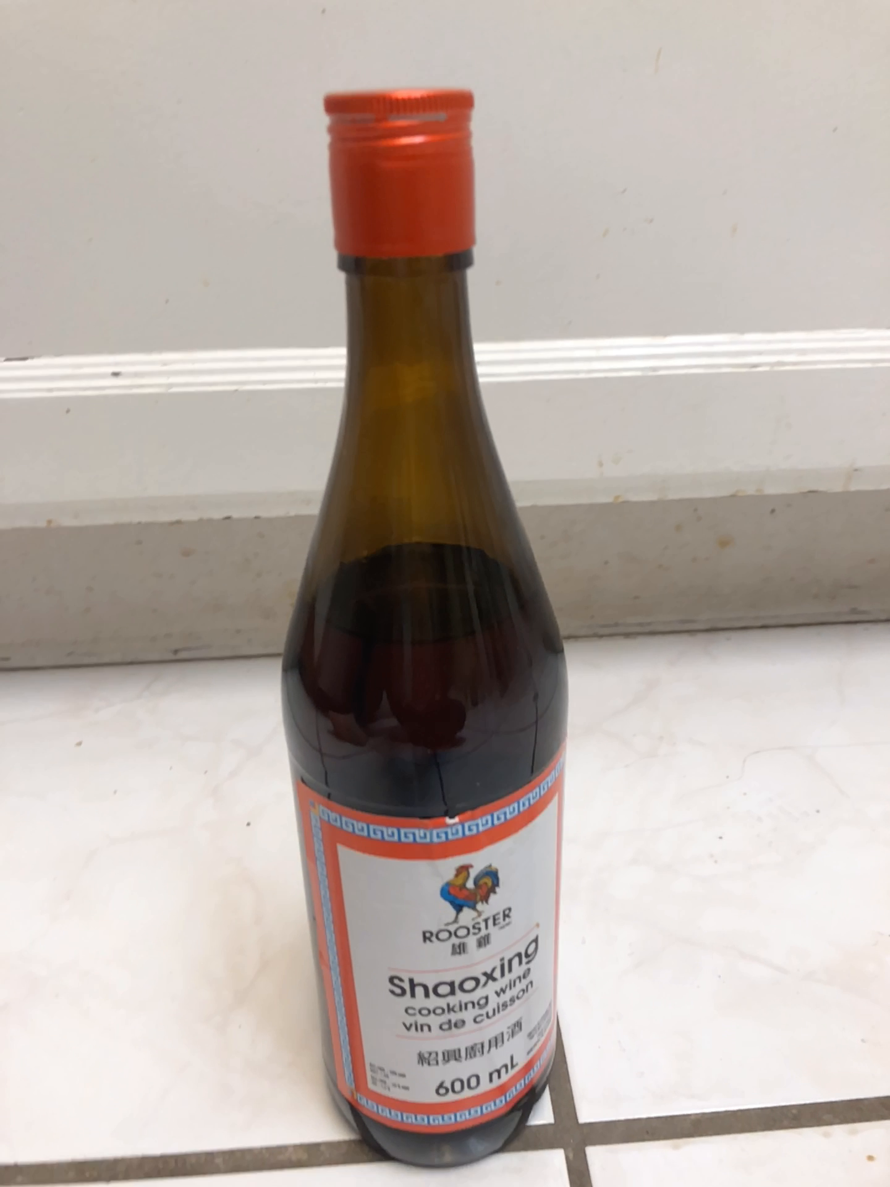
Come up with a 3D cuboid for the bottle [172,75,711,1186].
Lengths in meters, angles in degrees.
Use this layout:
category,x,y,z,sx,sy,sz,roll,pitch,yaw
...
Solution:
category,x,y,z,sx,sy,sz,roll,pitch,yaw
bottle,-0.003,0.028,0.246,0.080,0.278,0.070,-11,29,-18
